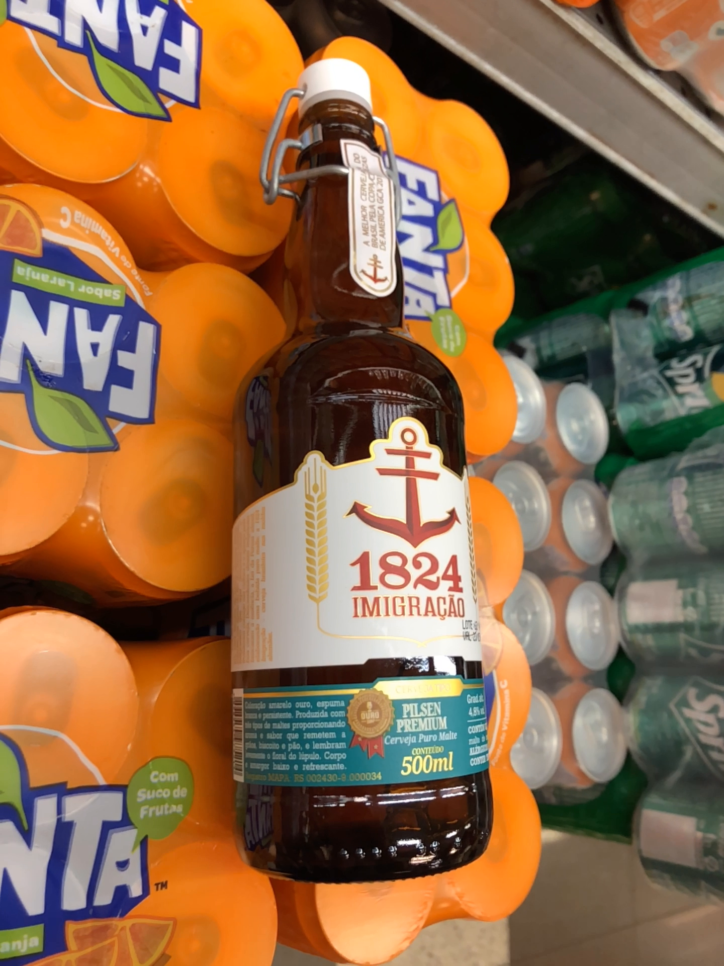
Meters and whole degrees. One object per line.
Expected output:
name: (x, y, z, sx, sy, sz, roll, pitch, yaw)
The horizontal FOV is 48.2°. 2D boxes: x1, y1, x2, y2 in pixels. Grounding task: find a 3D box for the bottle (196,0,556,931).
bottle: (0.003, -0.022, 0.235, 0.080, 0.050, 0.250, 9, 75, -39)
